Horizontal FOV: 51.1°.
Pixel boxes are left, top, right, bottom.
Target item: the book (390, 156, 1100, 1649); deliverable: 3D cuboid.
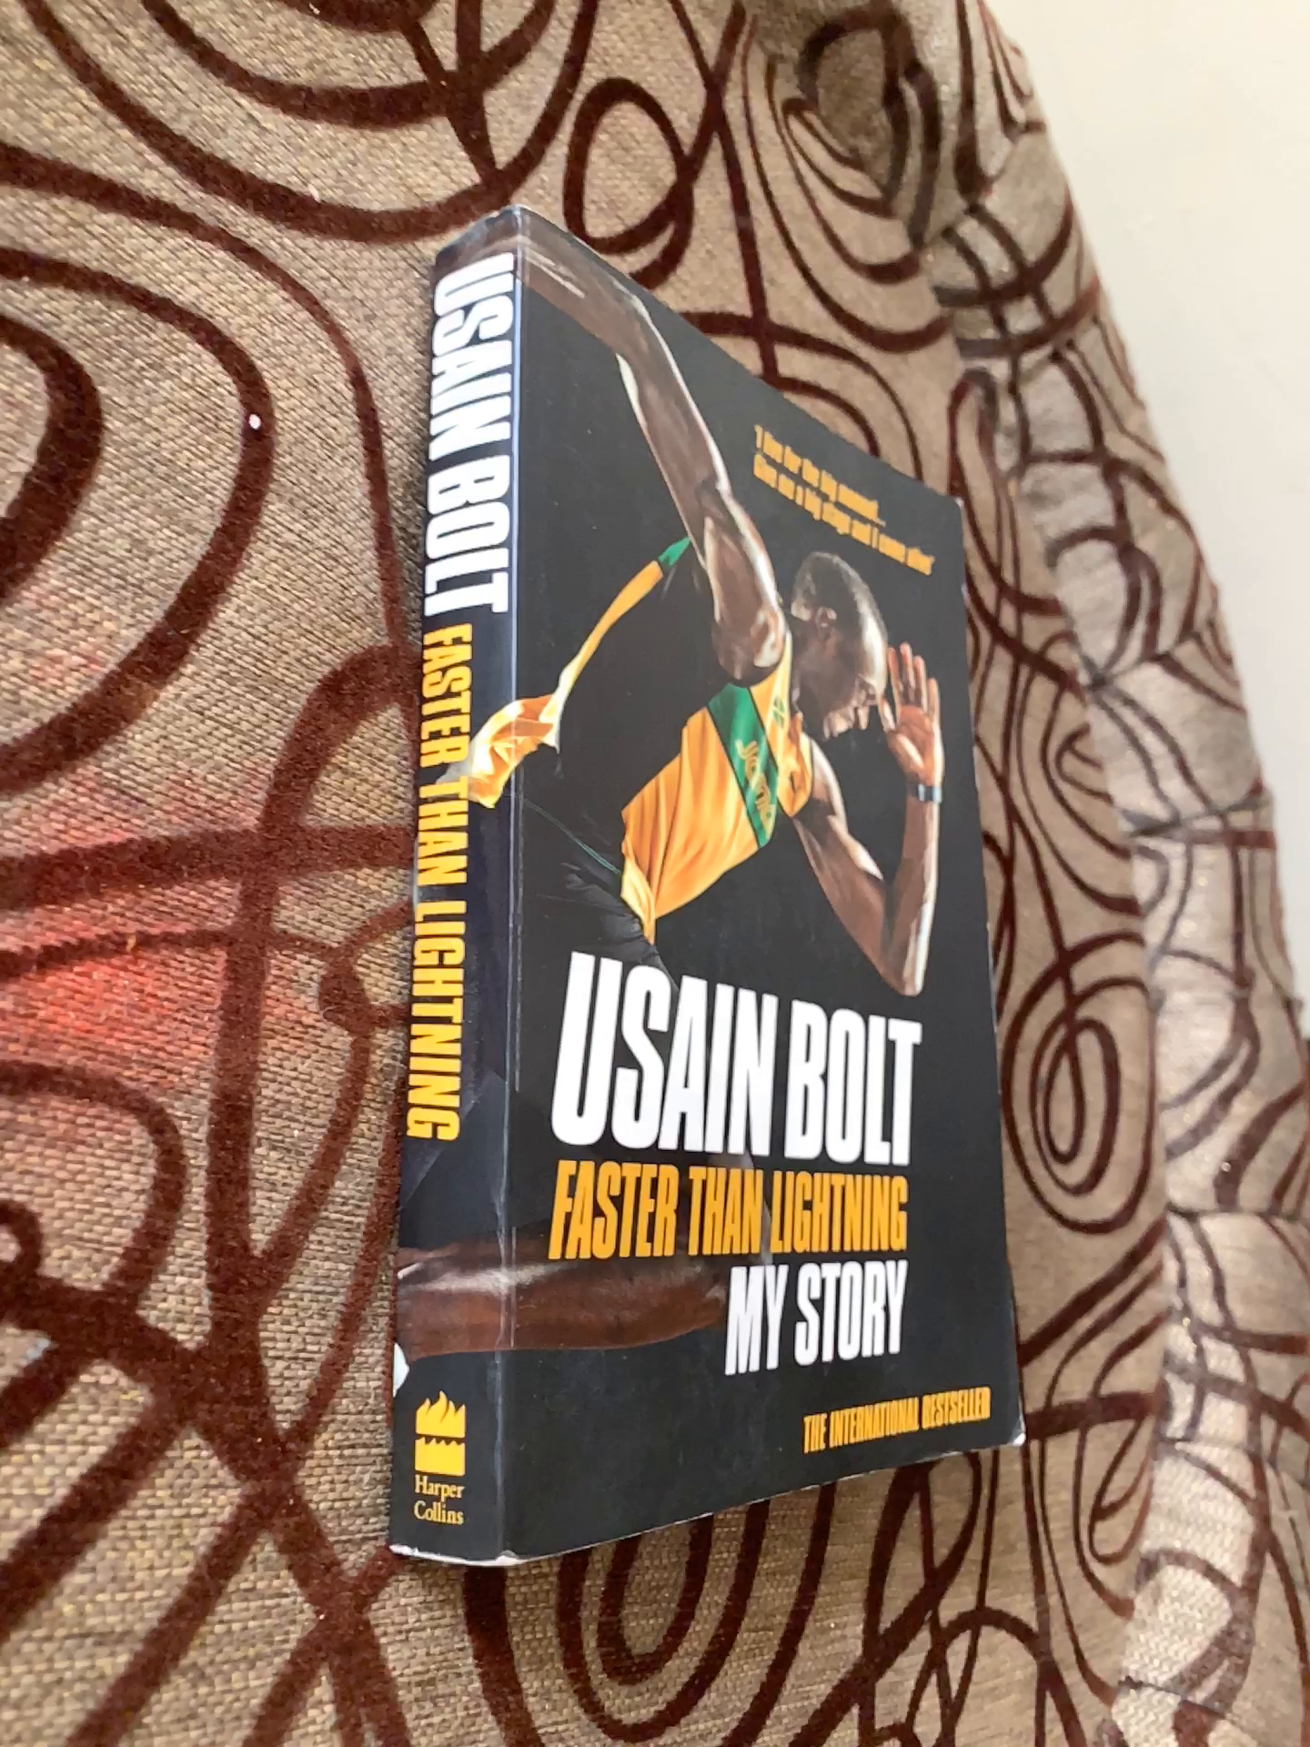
[{"bbox_3d":[0.024,0.005,0.239,0.141,0.030,0.200,17,67,-47],"label":"book"}]
